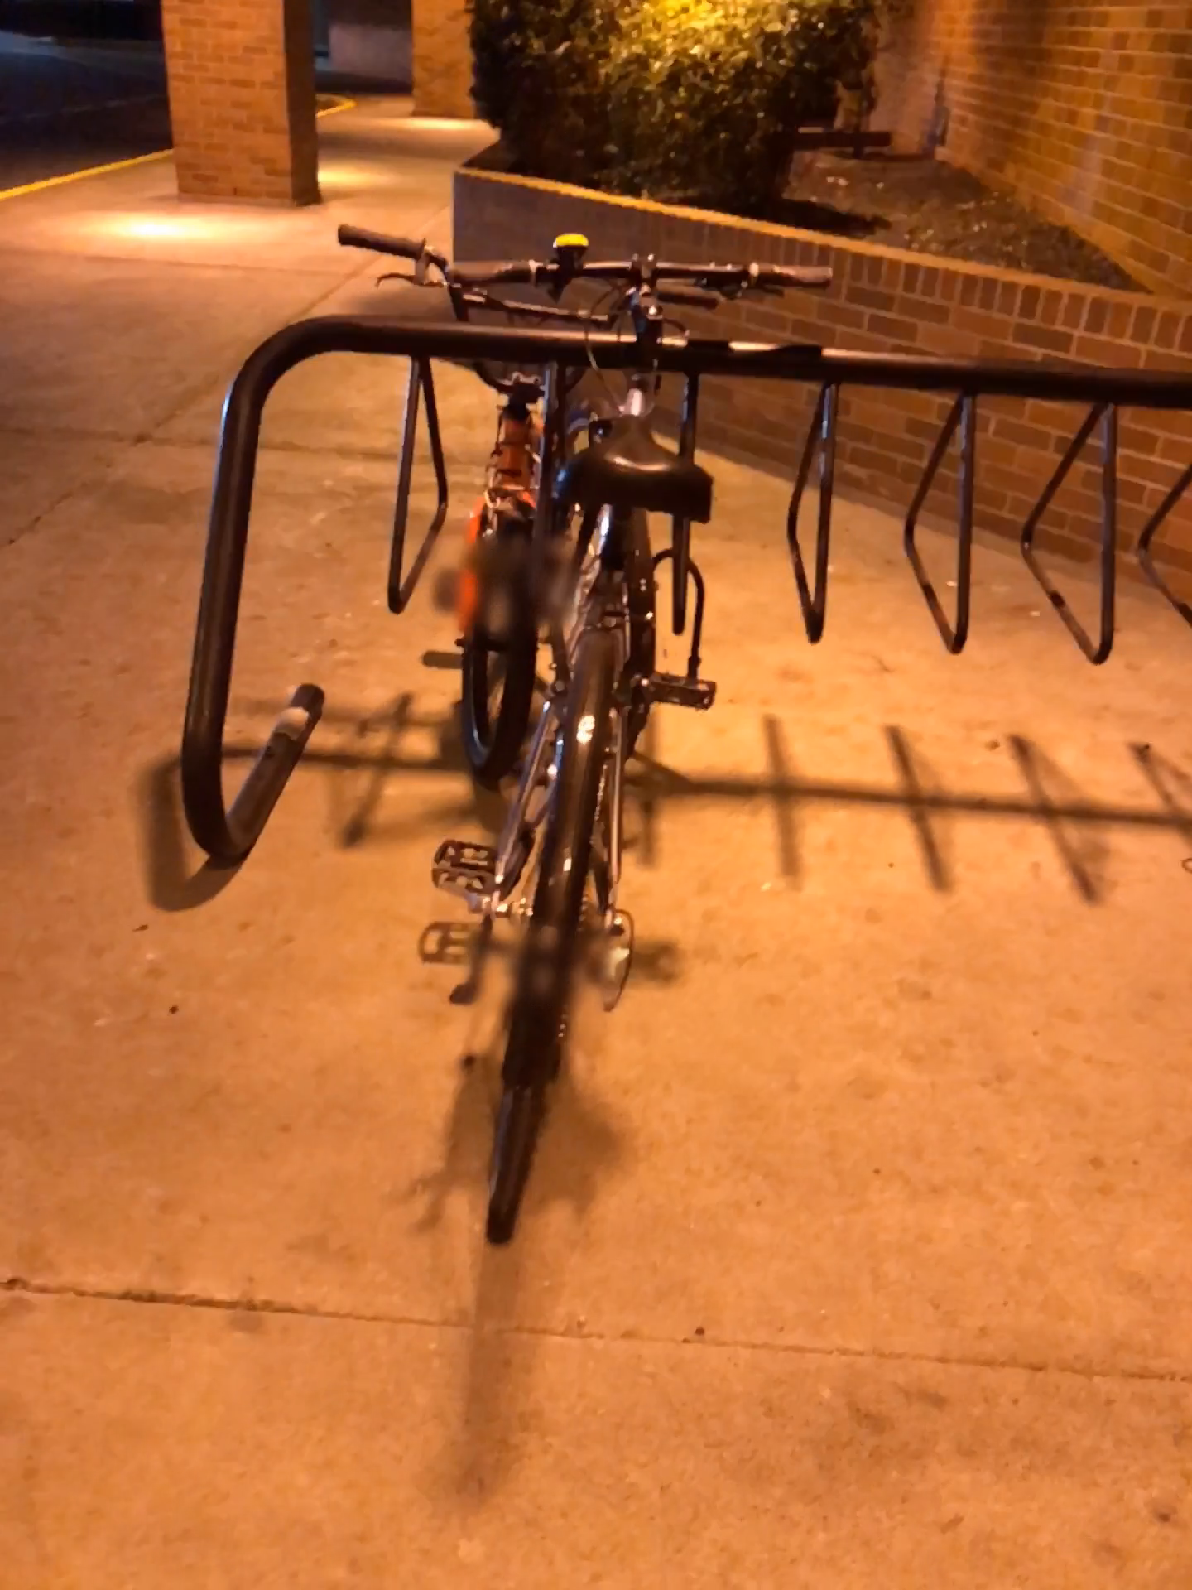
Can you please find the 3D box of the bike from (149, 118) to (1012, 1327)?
[{"bbox_3d":[-0.032,-0.316,1.845,0.637,0.864,1.653,4,34,-1],"label":"bike"}]
